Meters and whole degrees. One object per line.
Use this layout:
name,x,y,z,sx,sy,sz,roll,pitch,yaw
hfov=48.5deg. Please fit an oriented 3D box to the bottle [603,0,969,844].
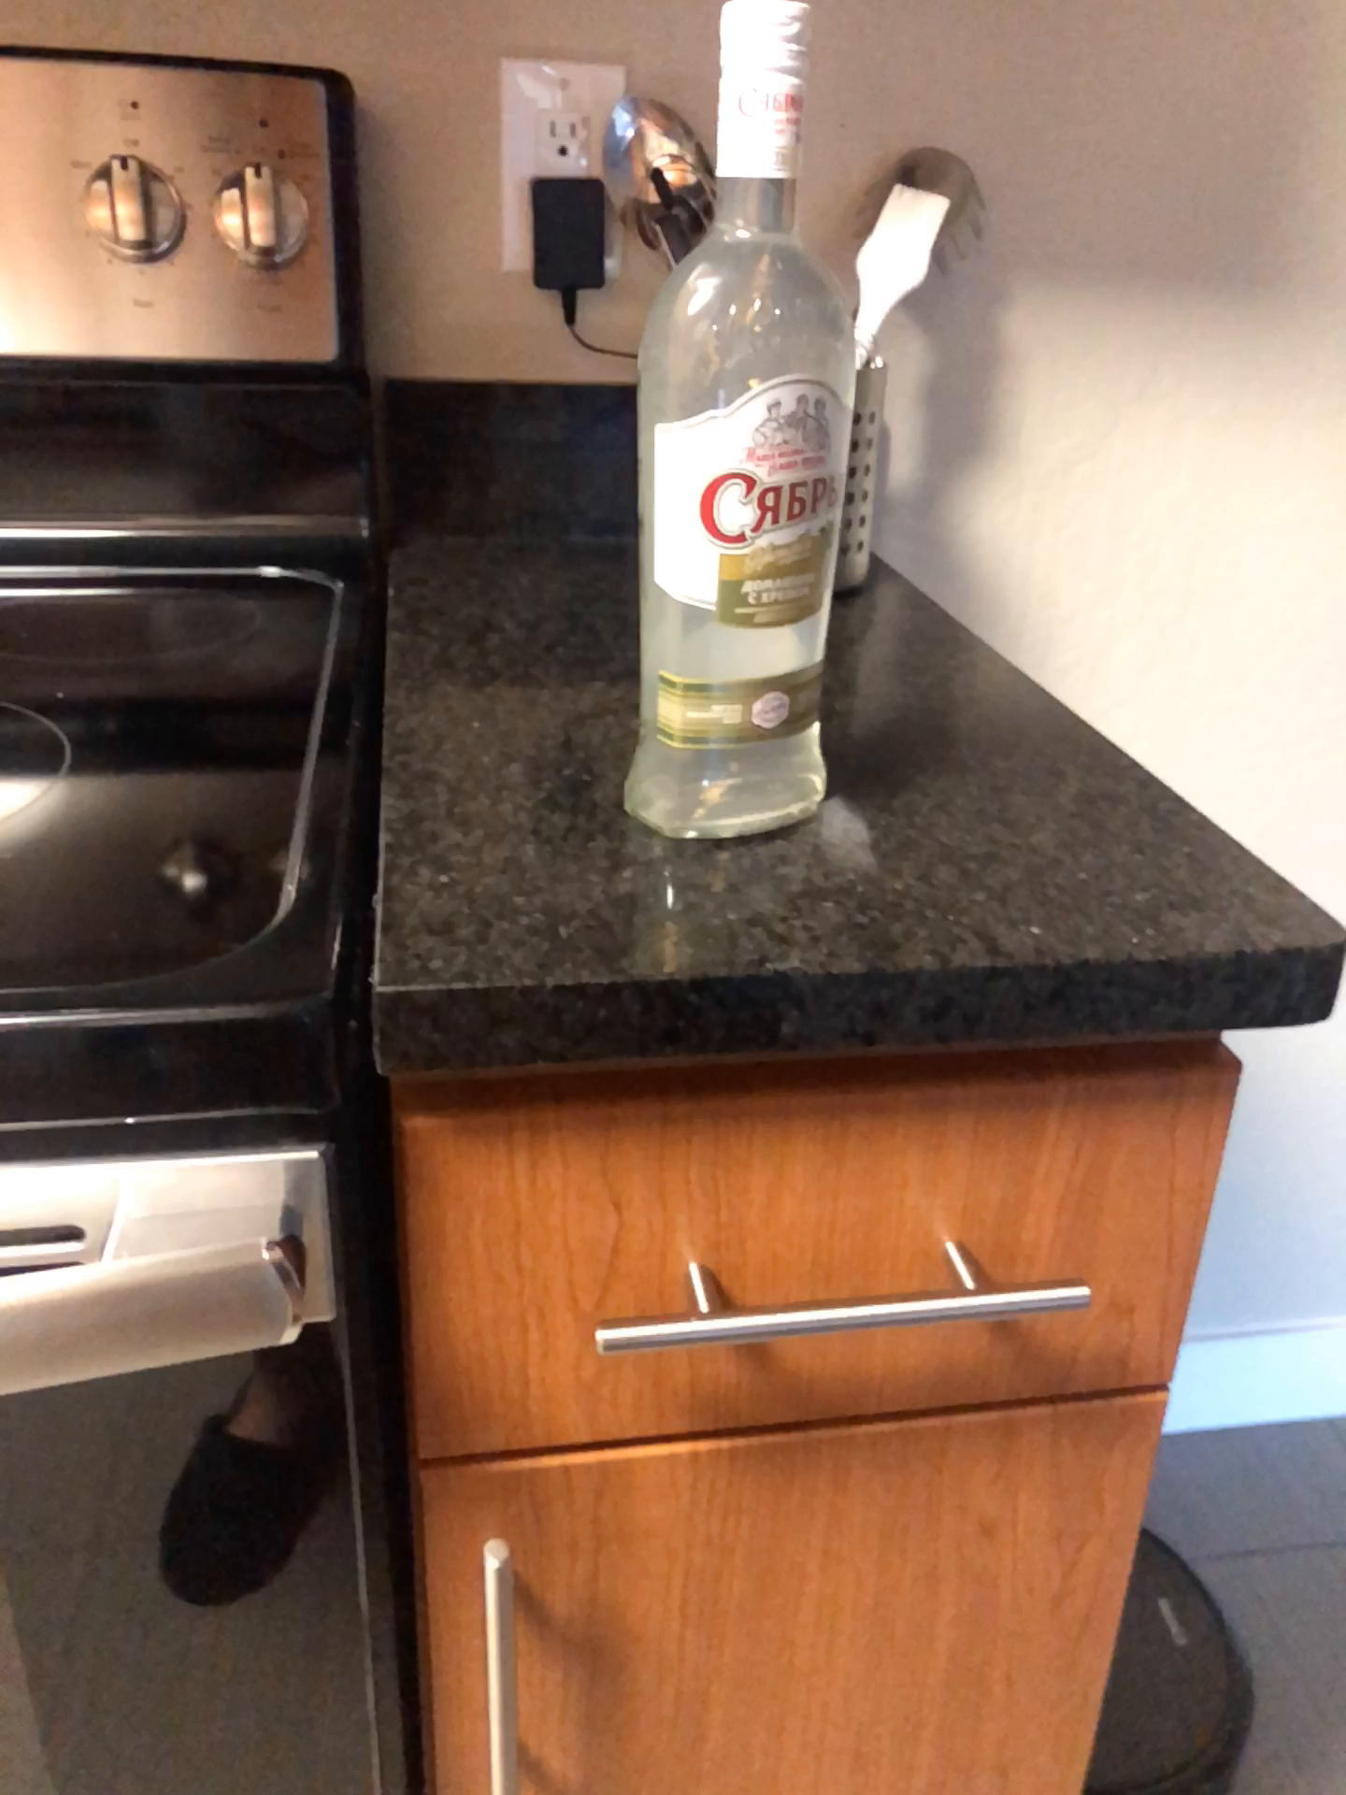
bottle,0.032,-0.161,0.518,0.090,0.269,0.060,-11,28,-27
